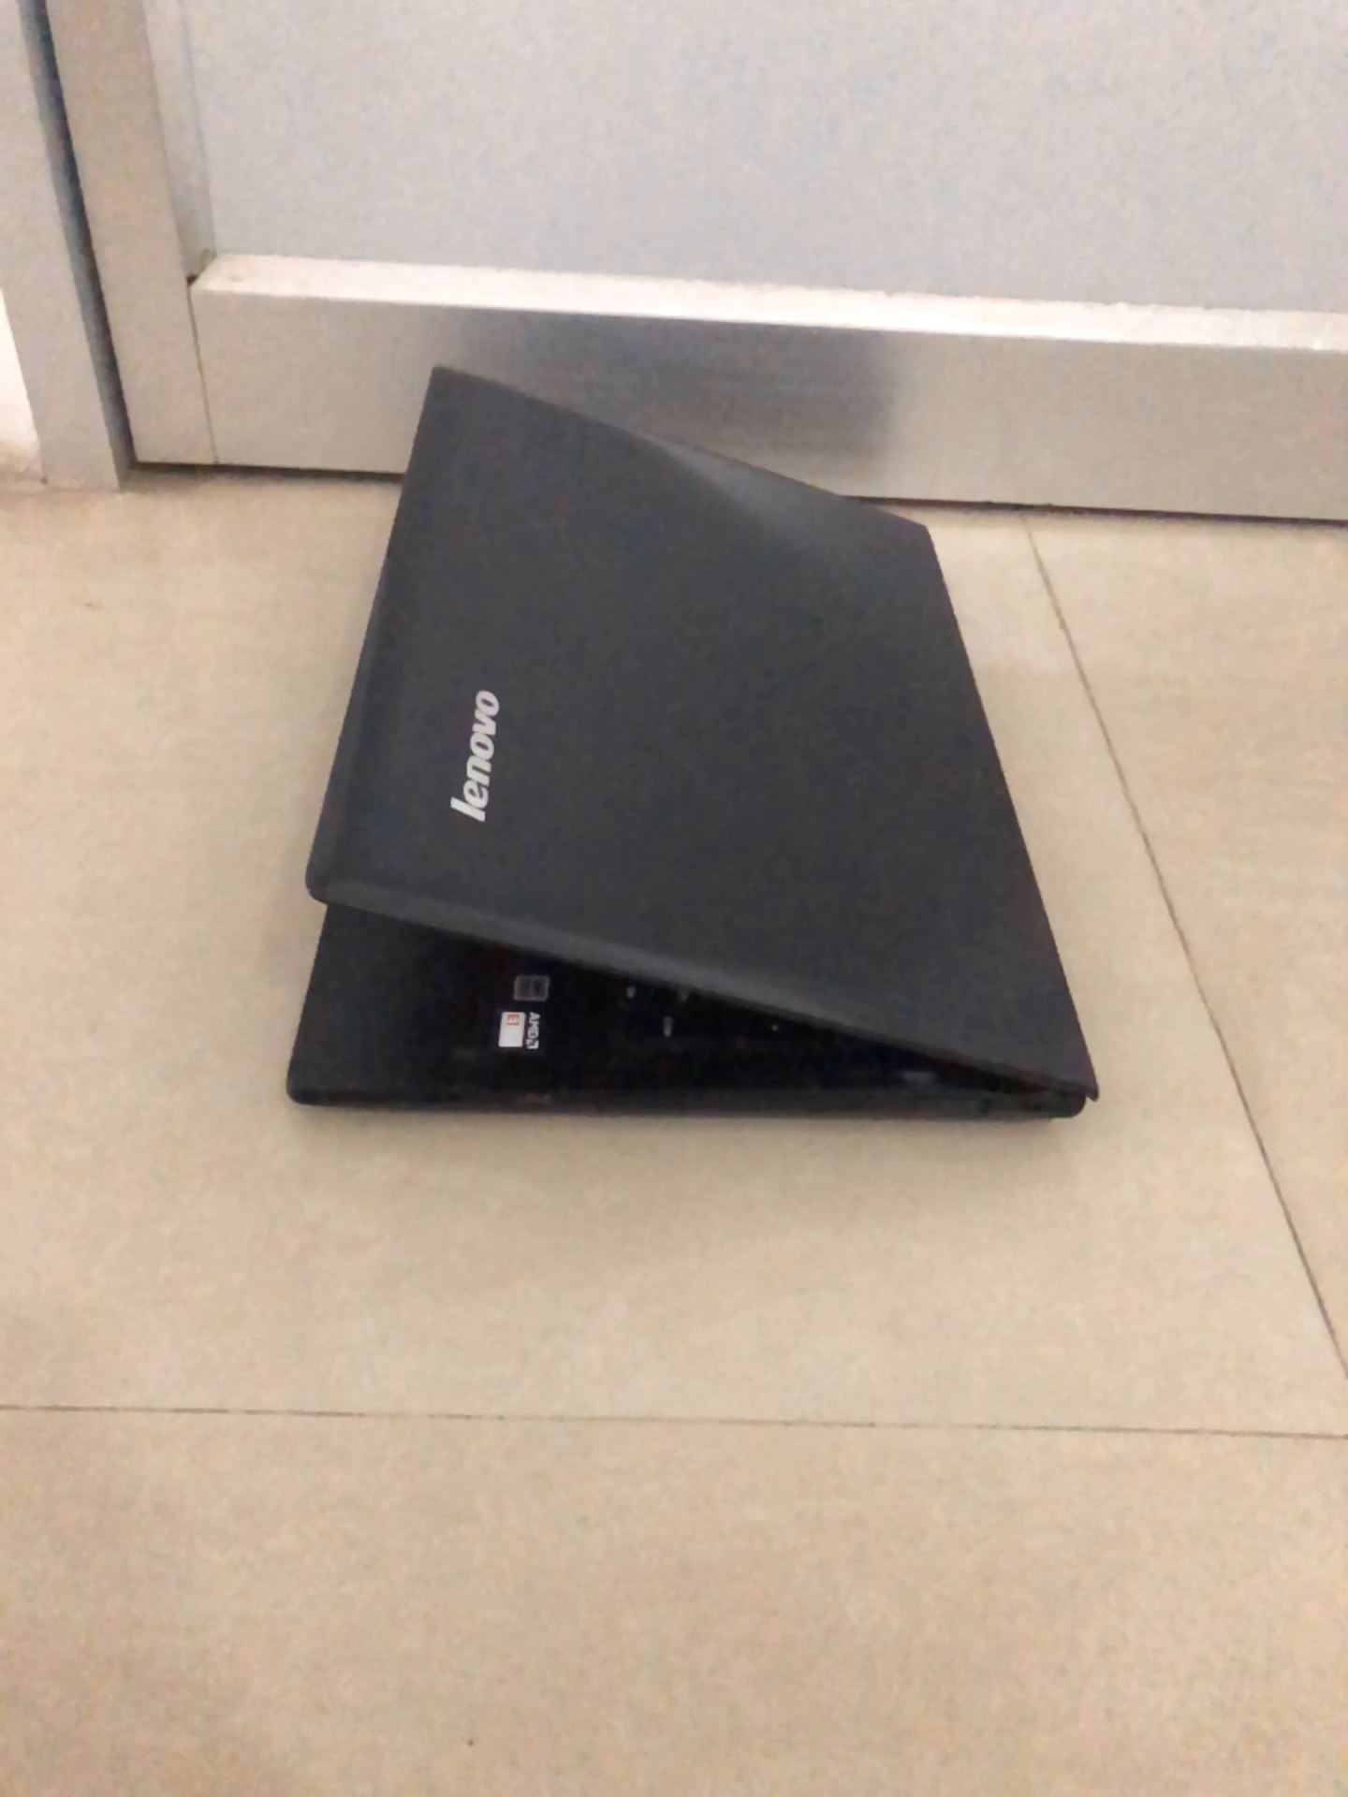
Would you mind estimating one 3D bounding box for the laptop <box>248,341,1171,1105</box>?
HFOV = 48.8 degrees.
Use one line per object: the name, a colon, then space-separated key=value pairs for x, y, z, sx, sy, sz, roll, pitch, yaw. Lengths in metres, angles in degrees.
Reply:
laptop: x=0.007 y=-0.093 z=0.582 sx=0.257 sy=0.097 sz=0.369 roll=1 pitch=42 yaw=-4
